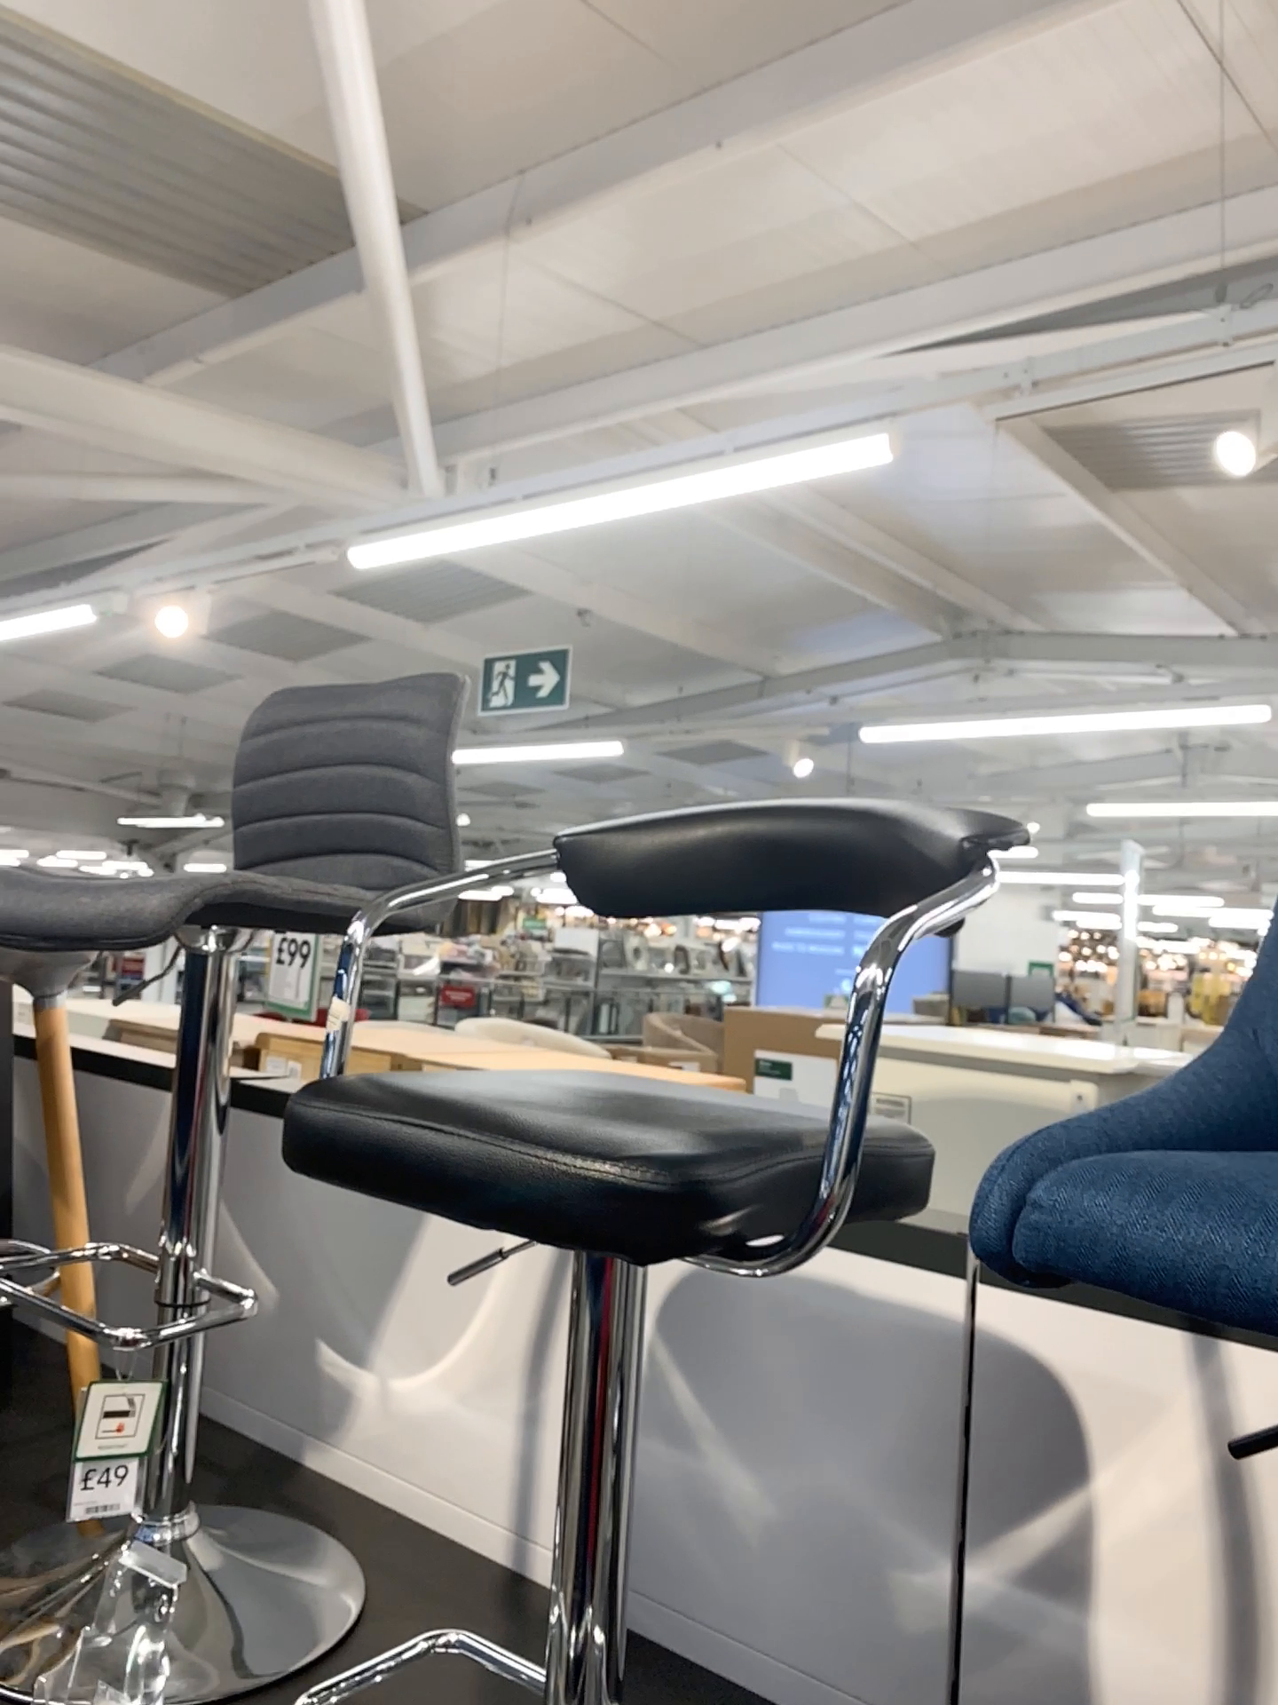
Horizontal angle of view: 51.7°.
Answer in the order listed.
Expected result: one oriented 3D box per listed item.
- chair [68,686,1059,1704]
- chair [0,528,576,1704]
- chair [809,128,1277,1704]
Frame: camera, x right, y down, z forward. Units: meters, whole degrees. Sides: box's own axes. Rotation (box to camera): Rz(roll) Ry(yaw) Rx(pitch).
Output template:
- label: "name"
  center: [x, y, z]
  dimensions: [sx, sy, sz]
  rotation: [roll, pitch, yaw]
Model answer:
- label: "chair"
  center: [-0.029, 0.354, 1.009]
  dimensions: [0.511, 0.855, 0.465]
  rotation: [0, -7, 36]
- label: "chair"
  center: [-0.457, 0.260, 1.460]
  dimensions: [0.511, 1.066, 0.465]
  rotation: [0, -7, 36]
- label: "chair"
  center: [0.480, 0.324, 0.645]
  dimensions: [0.521, 0.956, 0.535]
  rotation: [0, -7, 41]
